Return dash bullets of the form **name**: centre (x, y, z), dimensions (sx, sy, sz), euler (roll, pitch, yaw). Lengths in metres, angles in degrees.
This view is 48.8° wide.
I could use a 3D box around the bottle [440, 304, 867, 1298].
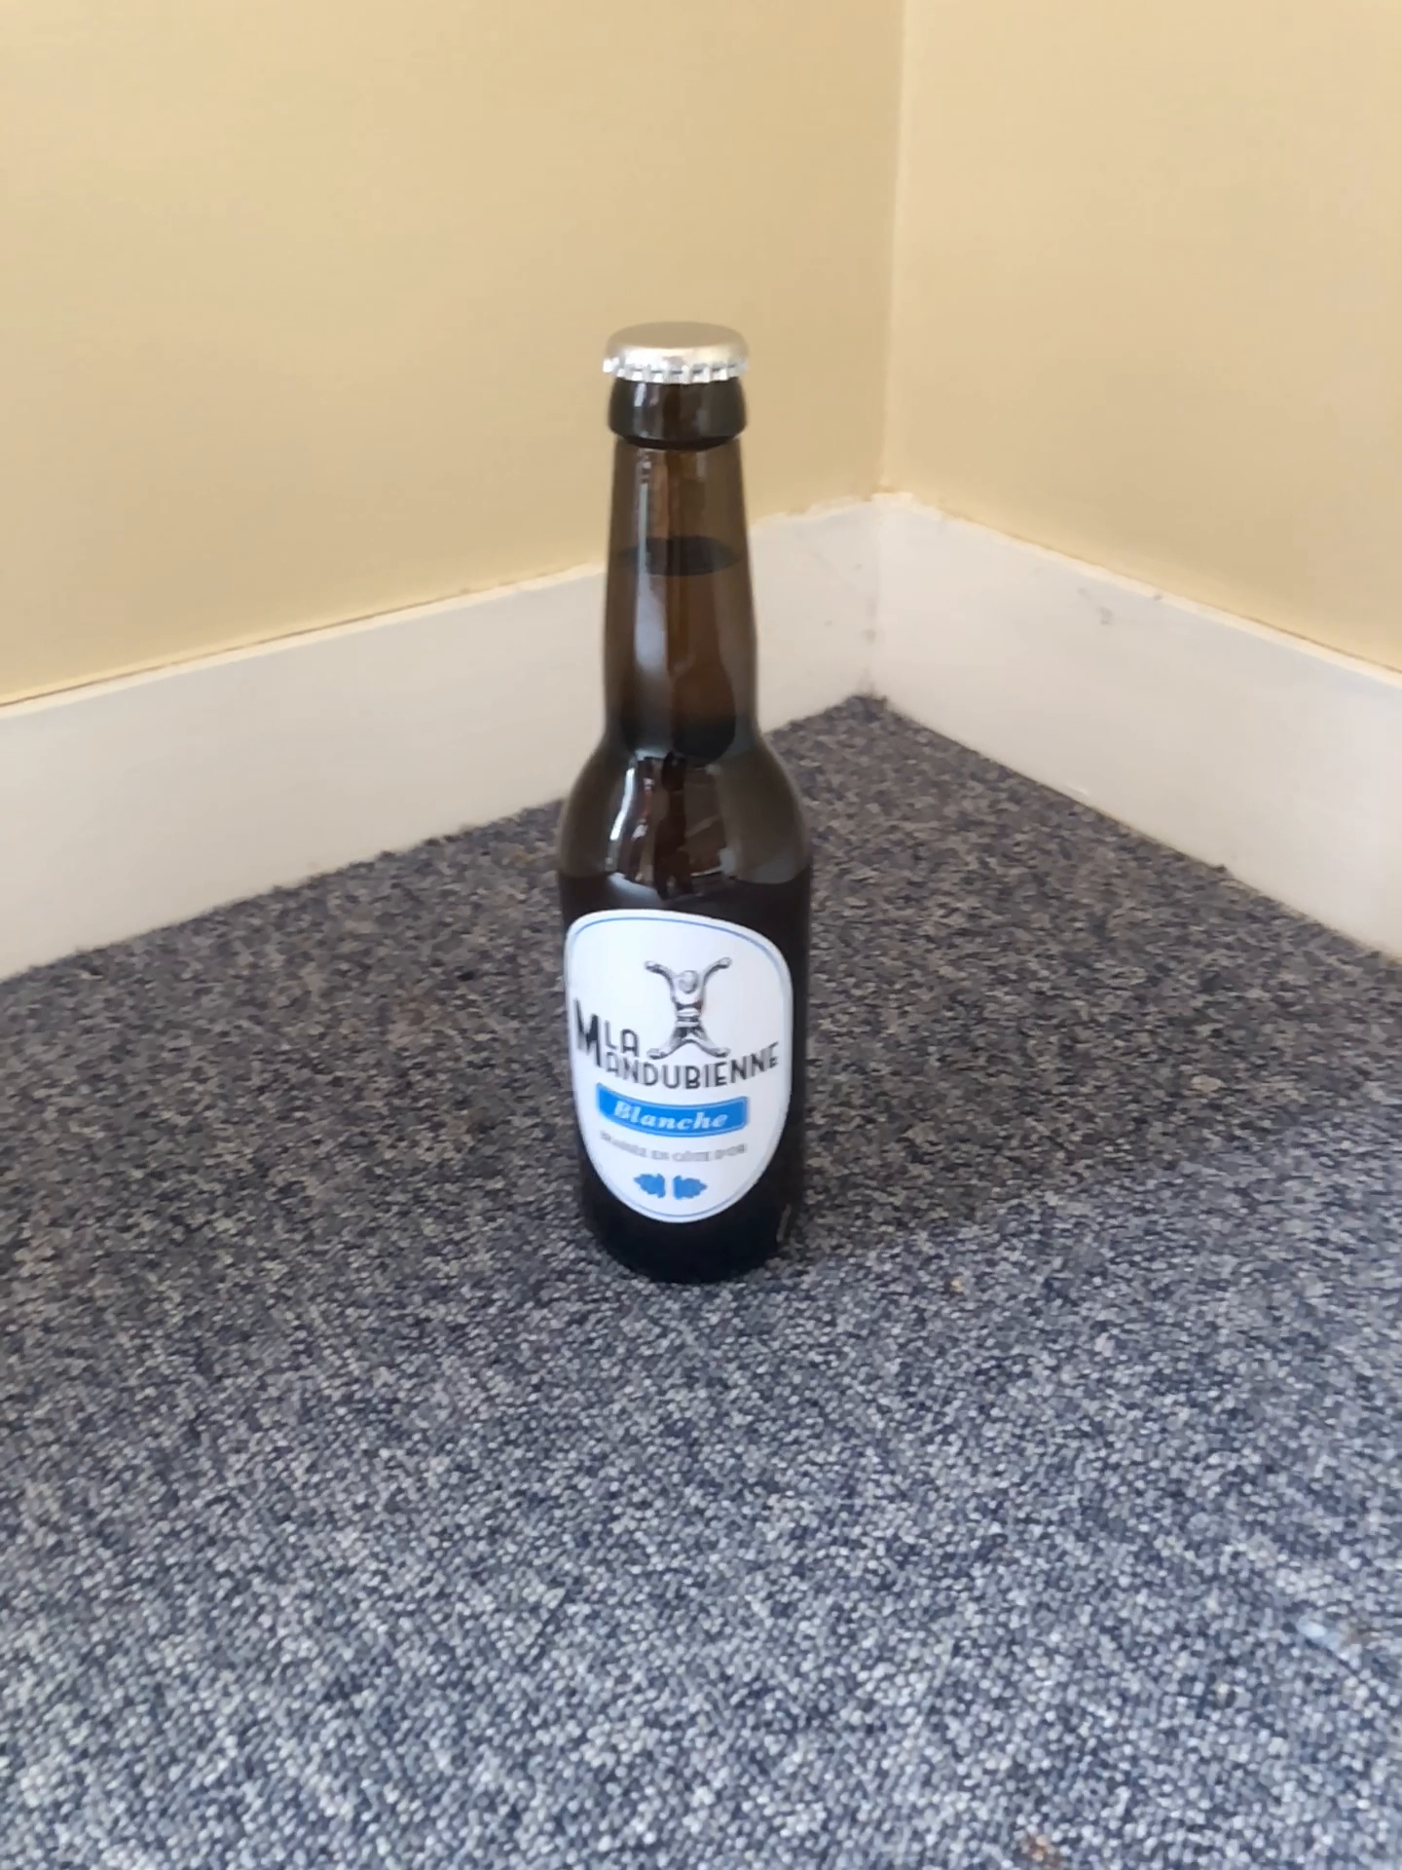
- **bottle**: centre (-0.004, -0.023, 0.346), dimensions (0.070, 0.209, 0.070), euler (-1, 32, 0)
